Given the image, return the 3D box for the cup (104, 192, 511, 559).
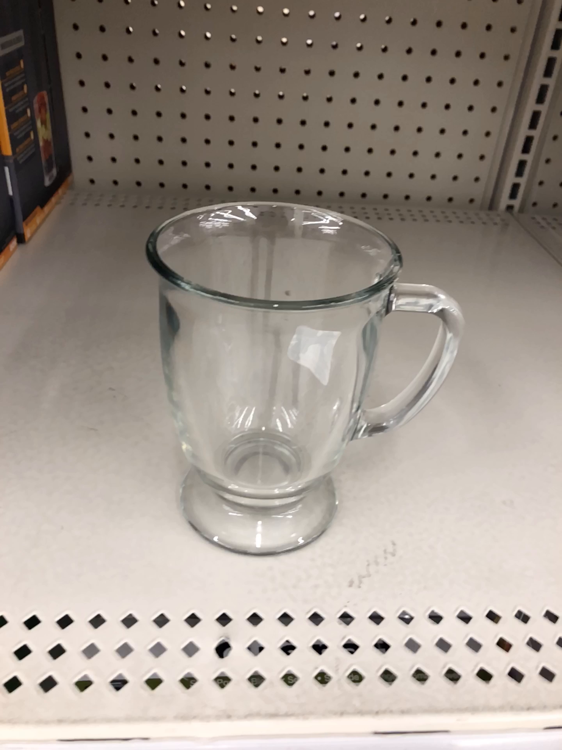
[{"bbox_3d":[0.005,-0.002,0.291,0.138,0.128,0.110,1,34,-4],"label":"cup"}]
